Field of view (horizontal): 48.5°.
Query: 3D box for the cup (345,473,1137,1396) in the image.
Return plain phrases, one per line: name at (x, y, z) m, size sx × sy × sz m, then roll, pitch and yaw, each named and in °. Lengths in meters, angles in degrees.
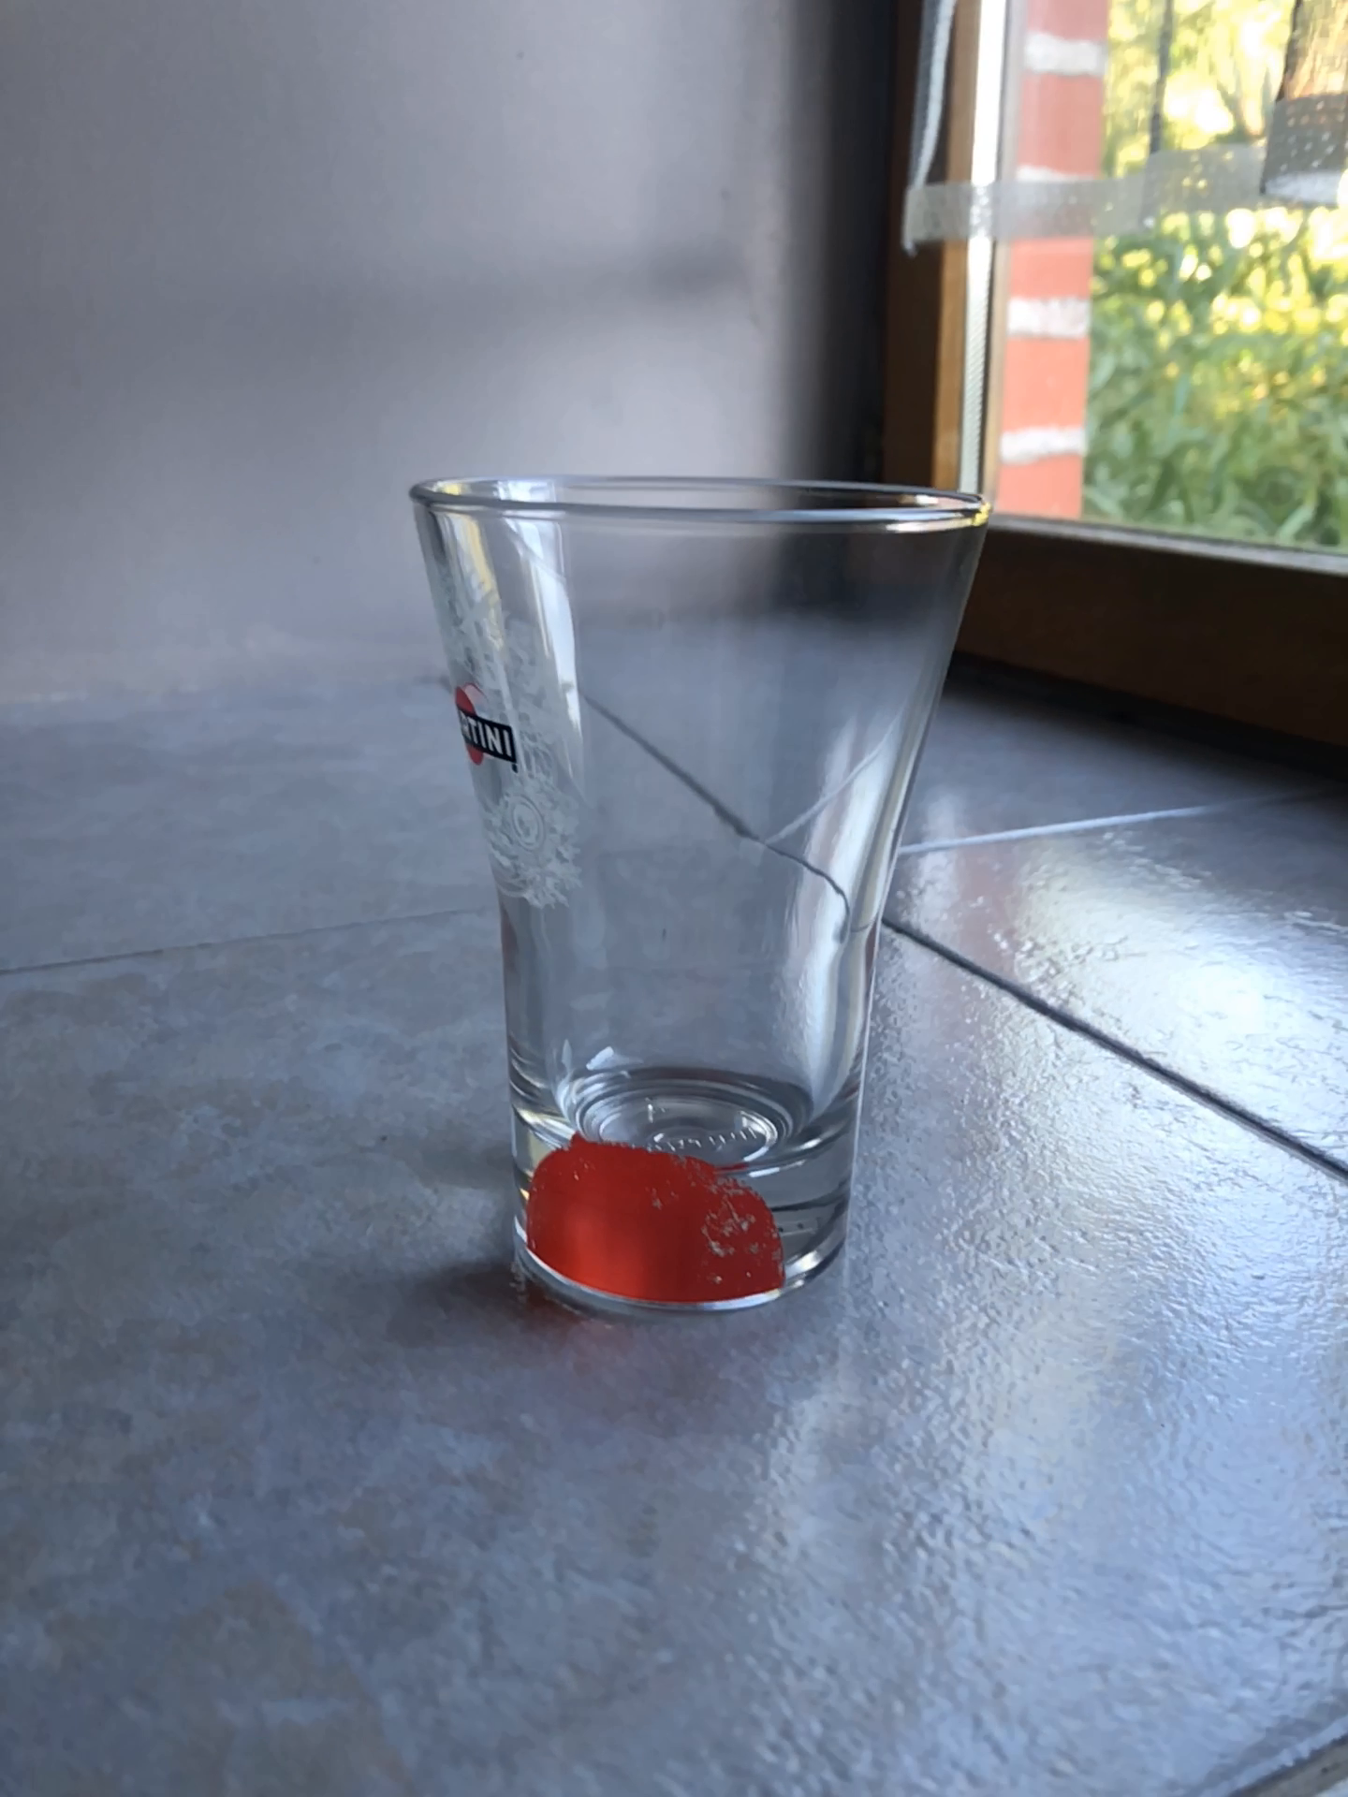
cup at (0.003, -0.006, 0.245) m, size 0.092 × 0.116 × 0.096 m, roll 0°, pitch 19°, yaw 0°
